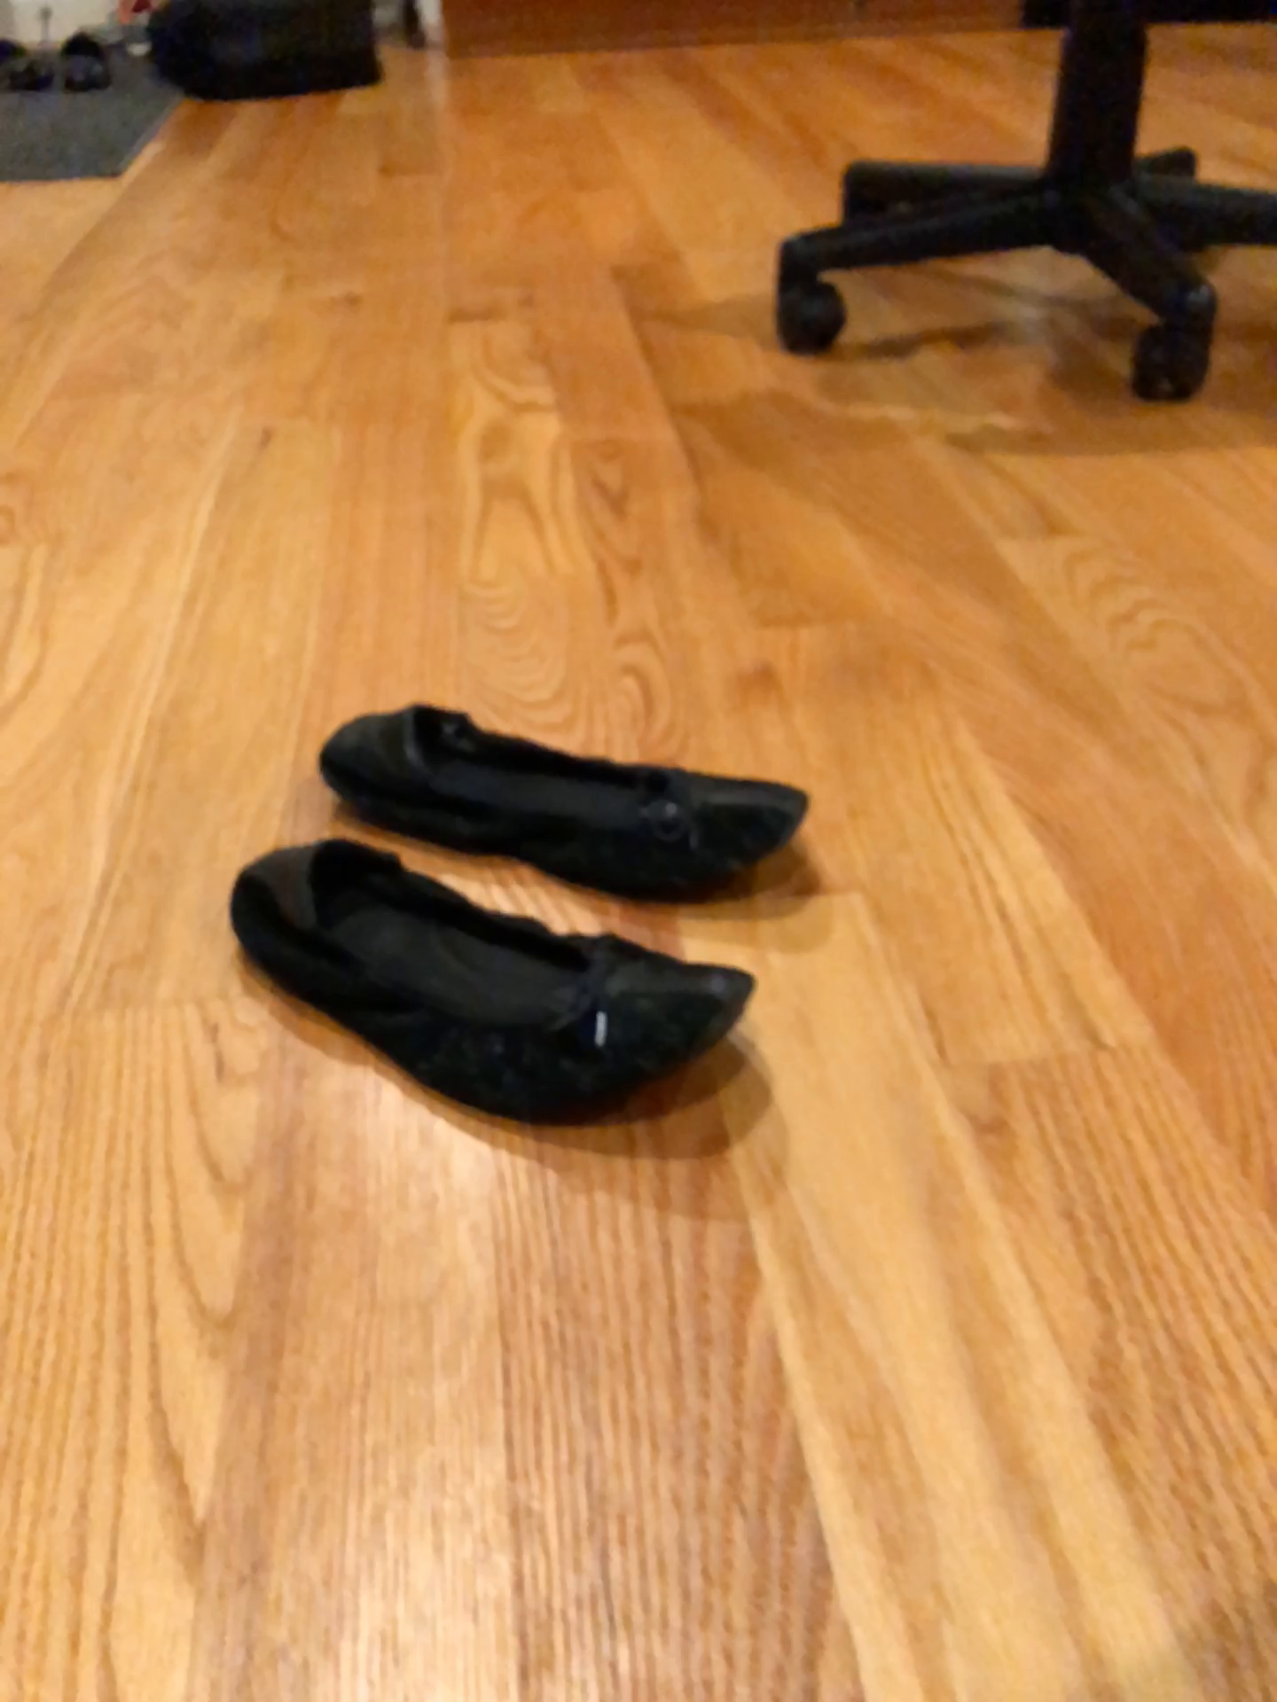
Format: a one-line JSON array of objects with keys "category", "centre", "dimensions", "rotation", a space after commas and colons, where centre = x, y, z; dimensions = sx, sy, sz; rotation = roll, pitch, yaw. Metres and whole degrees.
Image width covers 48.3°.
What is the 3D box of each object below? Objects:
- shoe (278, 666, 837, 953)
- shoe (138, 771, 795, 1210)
[{"category": "shoe", "centre": [-0.033, -0.024, 0.621], "dimensions": [0.220, 0.046, 0.093], "rotation": [11, 37, 17]}, {"category": "shoe", "centre": [-0.064, 0.042, 0.531], "dimensions": [0.220, 0.050, 0.100], "rotation": [17, 39, 24]}]
